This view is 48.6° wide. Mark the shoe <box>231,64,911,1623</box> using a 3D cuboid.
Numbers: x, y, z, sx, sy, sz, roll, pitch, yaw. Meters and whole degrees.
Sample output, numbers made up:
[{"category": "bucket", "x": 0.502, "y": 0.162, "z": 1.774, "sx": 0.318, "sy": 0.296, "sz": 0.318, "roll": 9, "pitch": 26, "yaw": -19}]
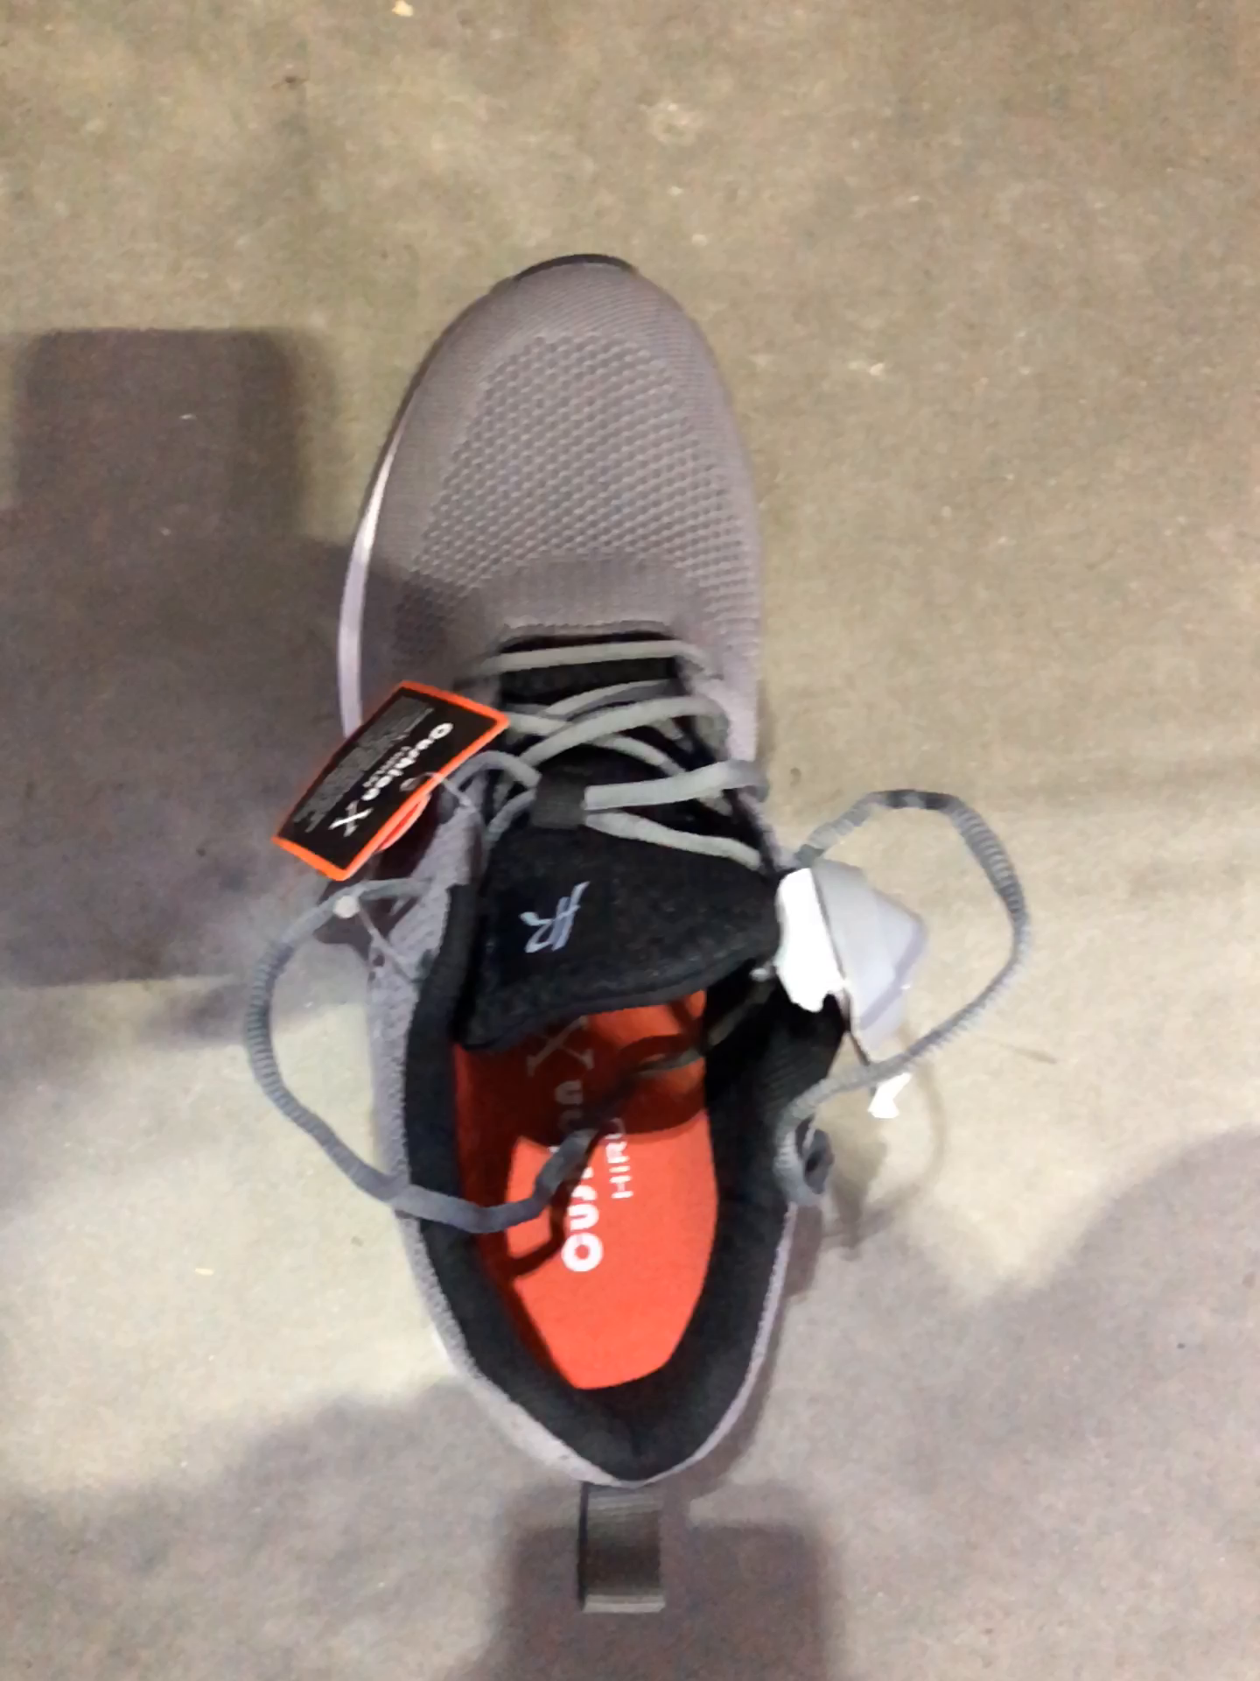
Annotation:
[{"category": "shoe", "x": -0.019, "y": -0.005, "z": 0.344, "sx": 0.110, "sy": 0.100, "sz": 0.320, "roll": -6, "pitch": 86, "yaw": -6}]
